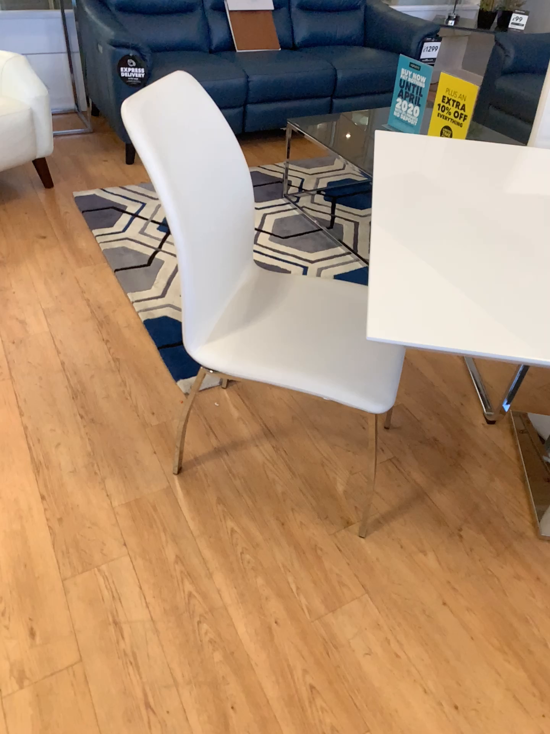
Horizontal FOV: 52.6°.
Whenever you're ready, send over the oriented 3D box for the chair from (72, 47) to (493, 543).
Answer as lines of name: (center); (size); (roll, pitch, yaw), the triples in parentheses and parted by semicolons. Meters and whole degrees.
chair: (0.034, -0.149, 1.271); (0.629, 0.863, 0.520); (14, 42, 10)
